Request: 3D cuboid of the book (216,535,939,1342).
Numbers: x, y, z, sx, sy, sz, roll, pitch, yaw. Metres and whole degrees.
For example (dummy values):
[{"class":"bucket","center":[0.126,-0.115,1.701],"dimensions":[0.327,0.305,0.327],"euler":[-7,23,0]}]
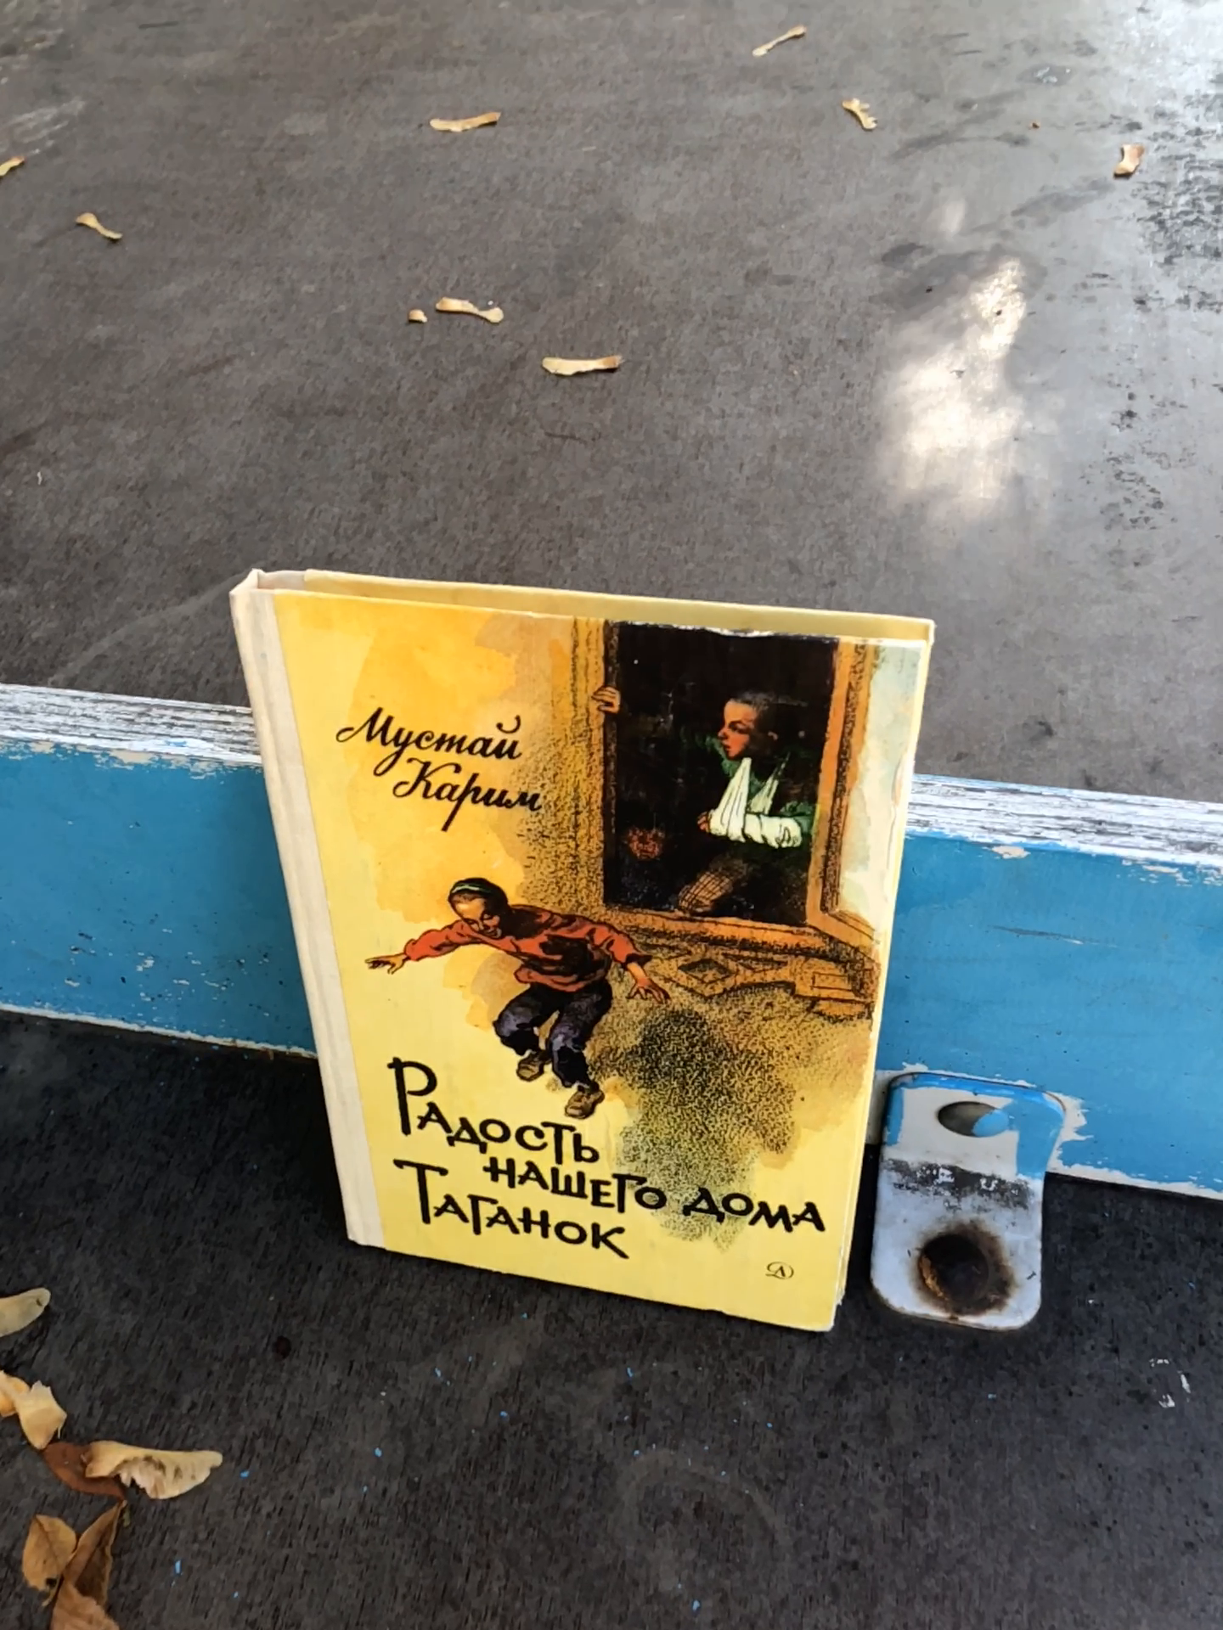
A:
[{"class":"book","center":[-0.009,0.042,0.348],"dimensions":[0.155,0.218,0.020],"euler":[7,33,12]}]
